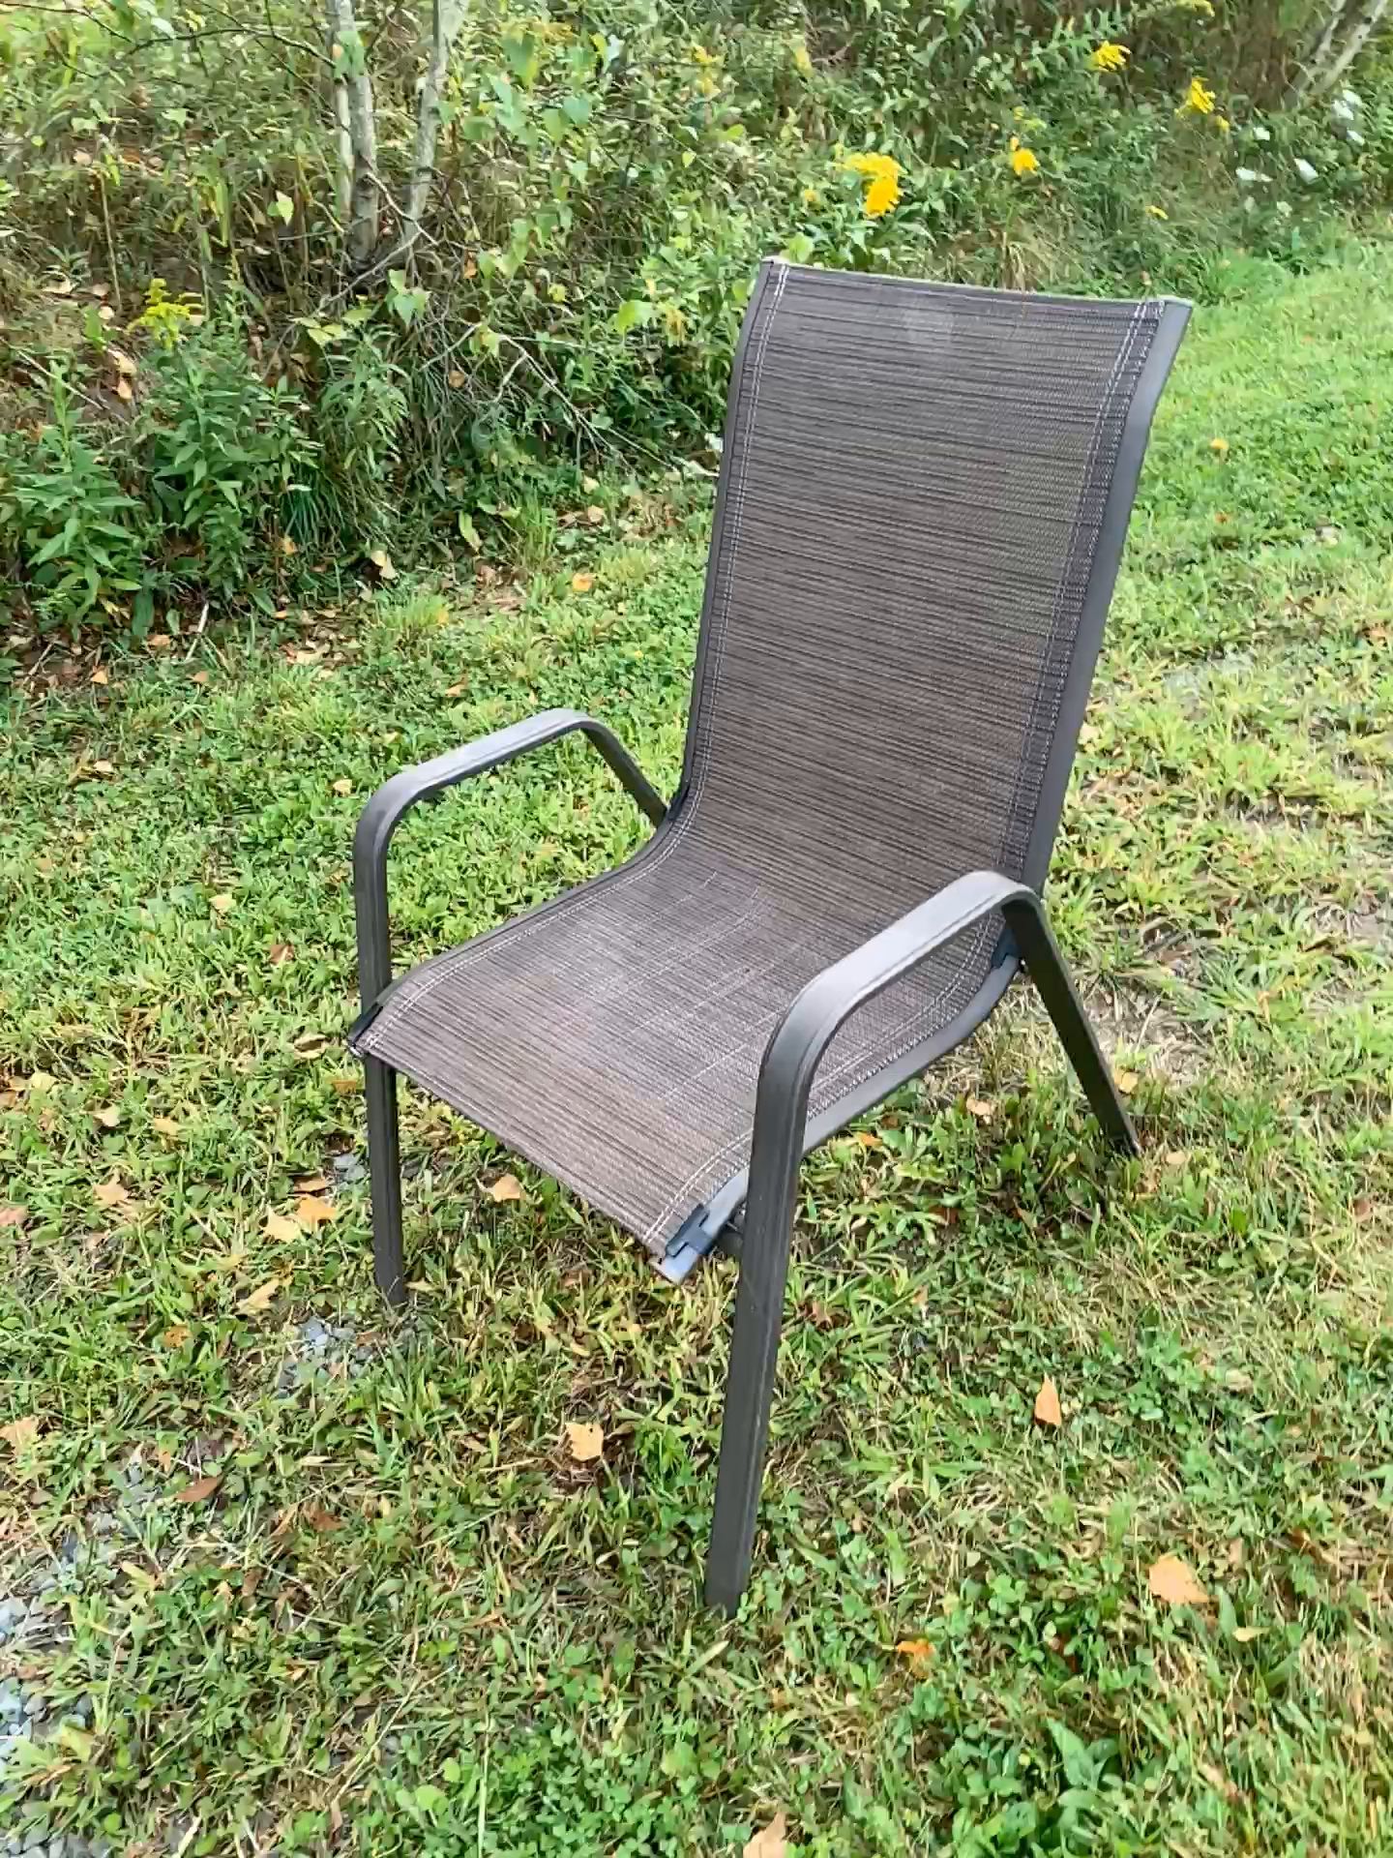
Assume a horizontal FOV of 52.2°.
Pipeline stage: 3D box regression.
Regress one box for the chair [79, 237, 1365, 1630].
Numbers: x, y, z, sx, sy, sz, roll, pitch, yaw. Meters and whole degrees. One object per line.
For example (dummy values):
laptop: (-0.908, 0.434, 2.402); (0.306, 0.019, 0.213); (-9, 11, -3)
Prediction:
chair: (0.055, -0.090, 1.280); (0.622, 0.875, 0.742); (24, 40, 37)
